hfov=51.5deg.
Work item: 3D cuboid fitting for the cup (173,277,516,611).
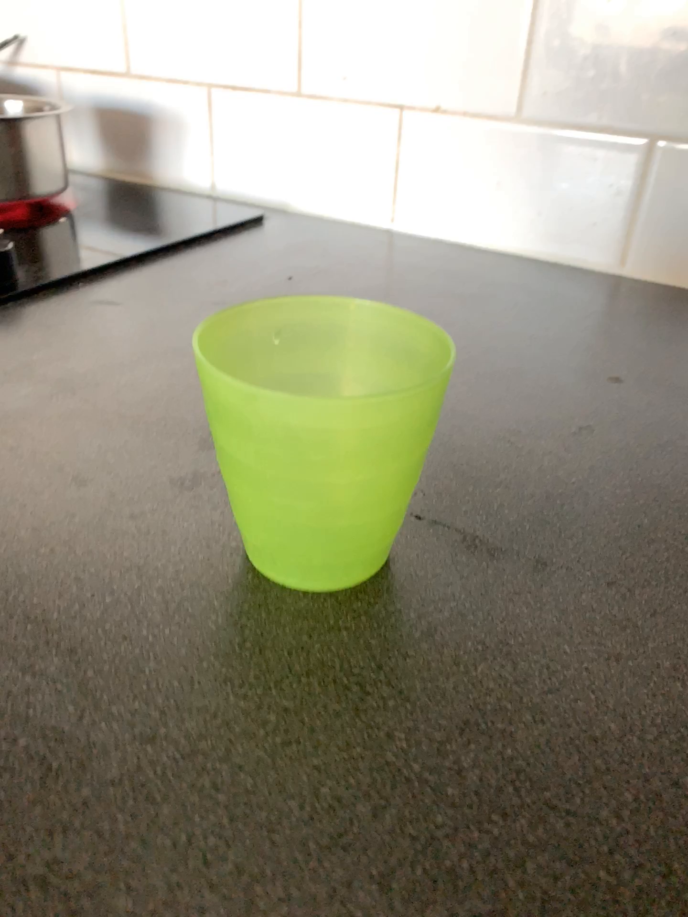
[{"bbox_3d":[-0.004,-0.007,0.240,0.089,0.080,0.078,0,34,-5],"label":"cup"}]
